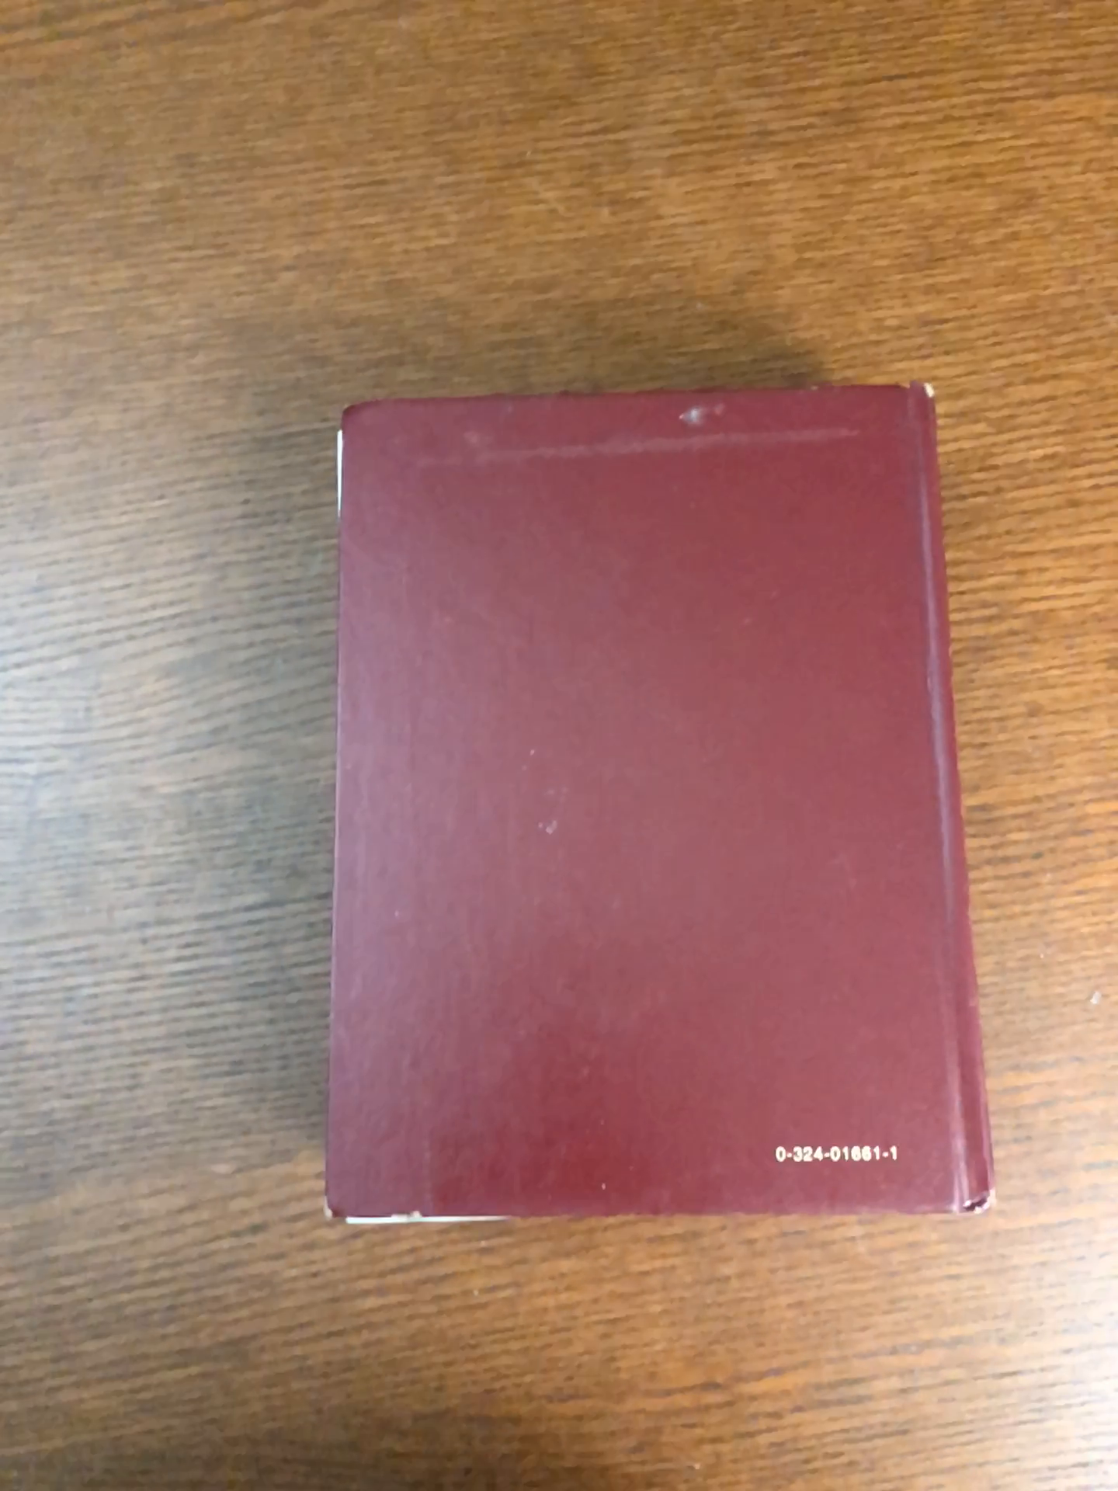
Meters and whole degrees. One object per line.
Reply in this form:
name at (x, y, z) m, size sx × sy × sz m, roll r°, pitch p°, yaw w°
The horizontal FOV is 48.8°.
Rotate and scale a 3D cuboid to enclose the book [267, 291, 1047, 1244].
book at (0.025, 0.004, 0.410) m, size 0.220 × 0.070 × 0.290 m, roll -1°, pitch 79°, yaw 2°
